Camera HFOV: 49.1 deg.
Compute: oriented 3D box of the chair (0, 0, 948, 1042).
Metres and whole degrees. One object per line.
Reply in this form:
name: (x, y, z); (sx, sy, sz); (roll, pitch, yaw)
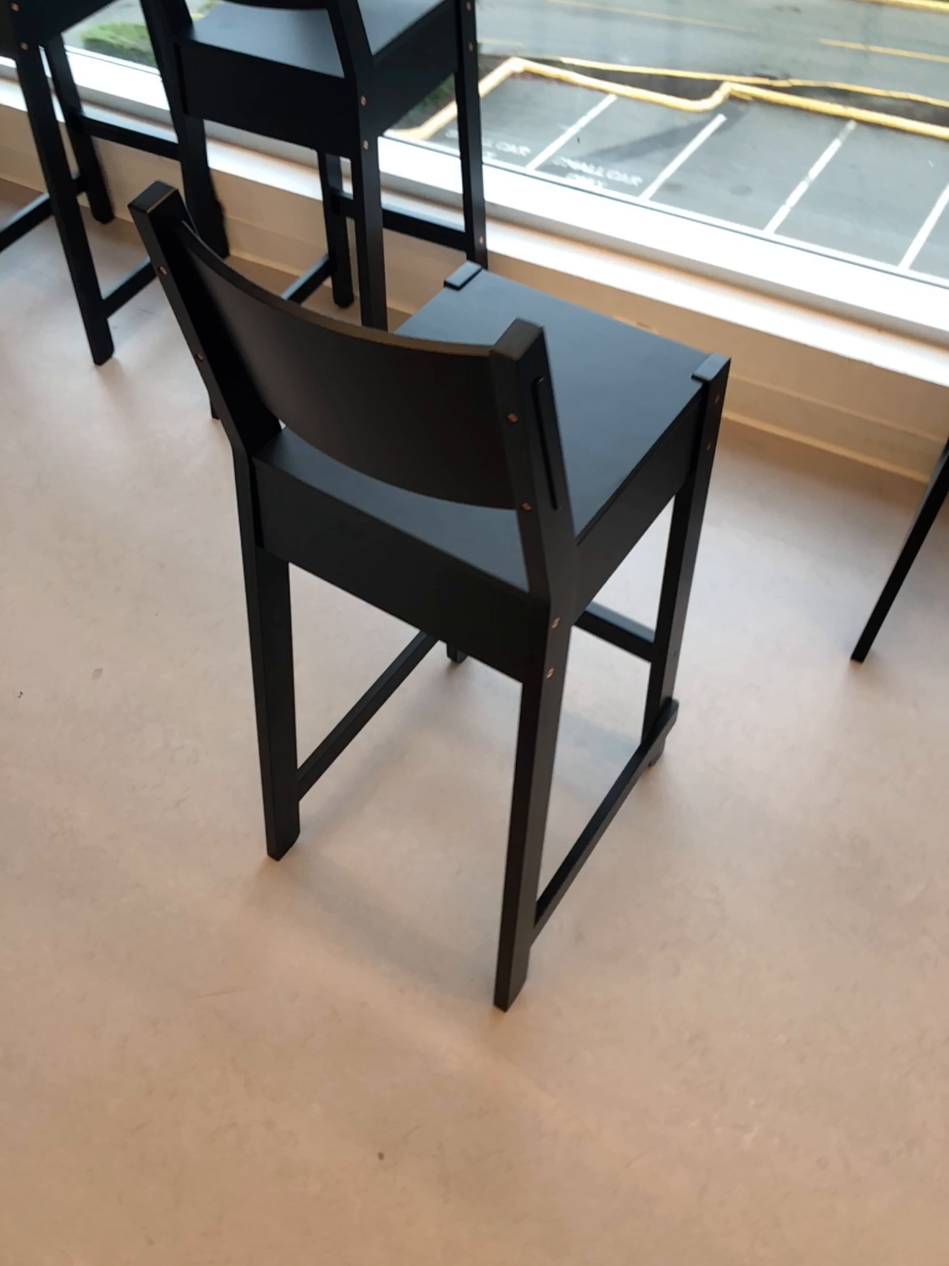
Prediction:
chair: (0.009, -0.102, 1.186); (0.551, 0.994, 0.582); (27, 56, 21)
